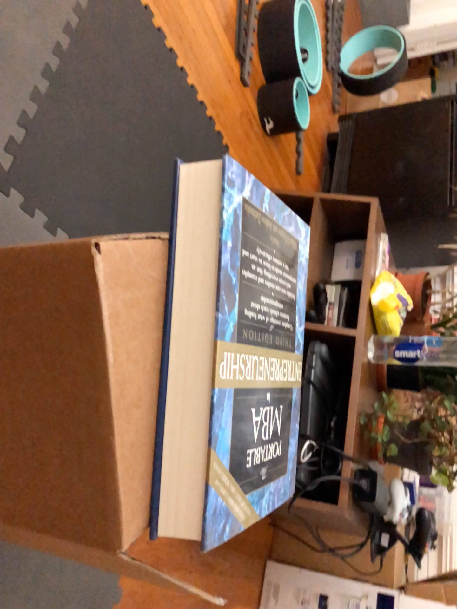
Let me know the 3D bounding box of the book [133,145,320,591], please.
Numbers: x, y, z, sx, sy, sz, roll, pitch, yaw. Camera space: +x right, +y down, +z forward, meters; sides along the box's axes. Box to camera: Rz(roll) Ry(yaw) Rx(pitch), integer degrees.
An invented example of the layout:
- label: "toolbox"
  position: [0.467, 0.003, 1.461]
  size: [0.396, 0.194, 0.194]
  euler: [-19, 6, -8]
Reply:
- label: "book"
  position: [0.016, 0.045, 0.414]
  size: [0.211, 0.060, 0.270]
  euler: [17, 72, -63]
